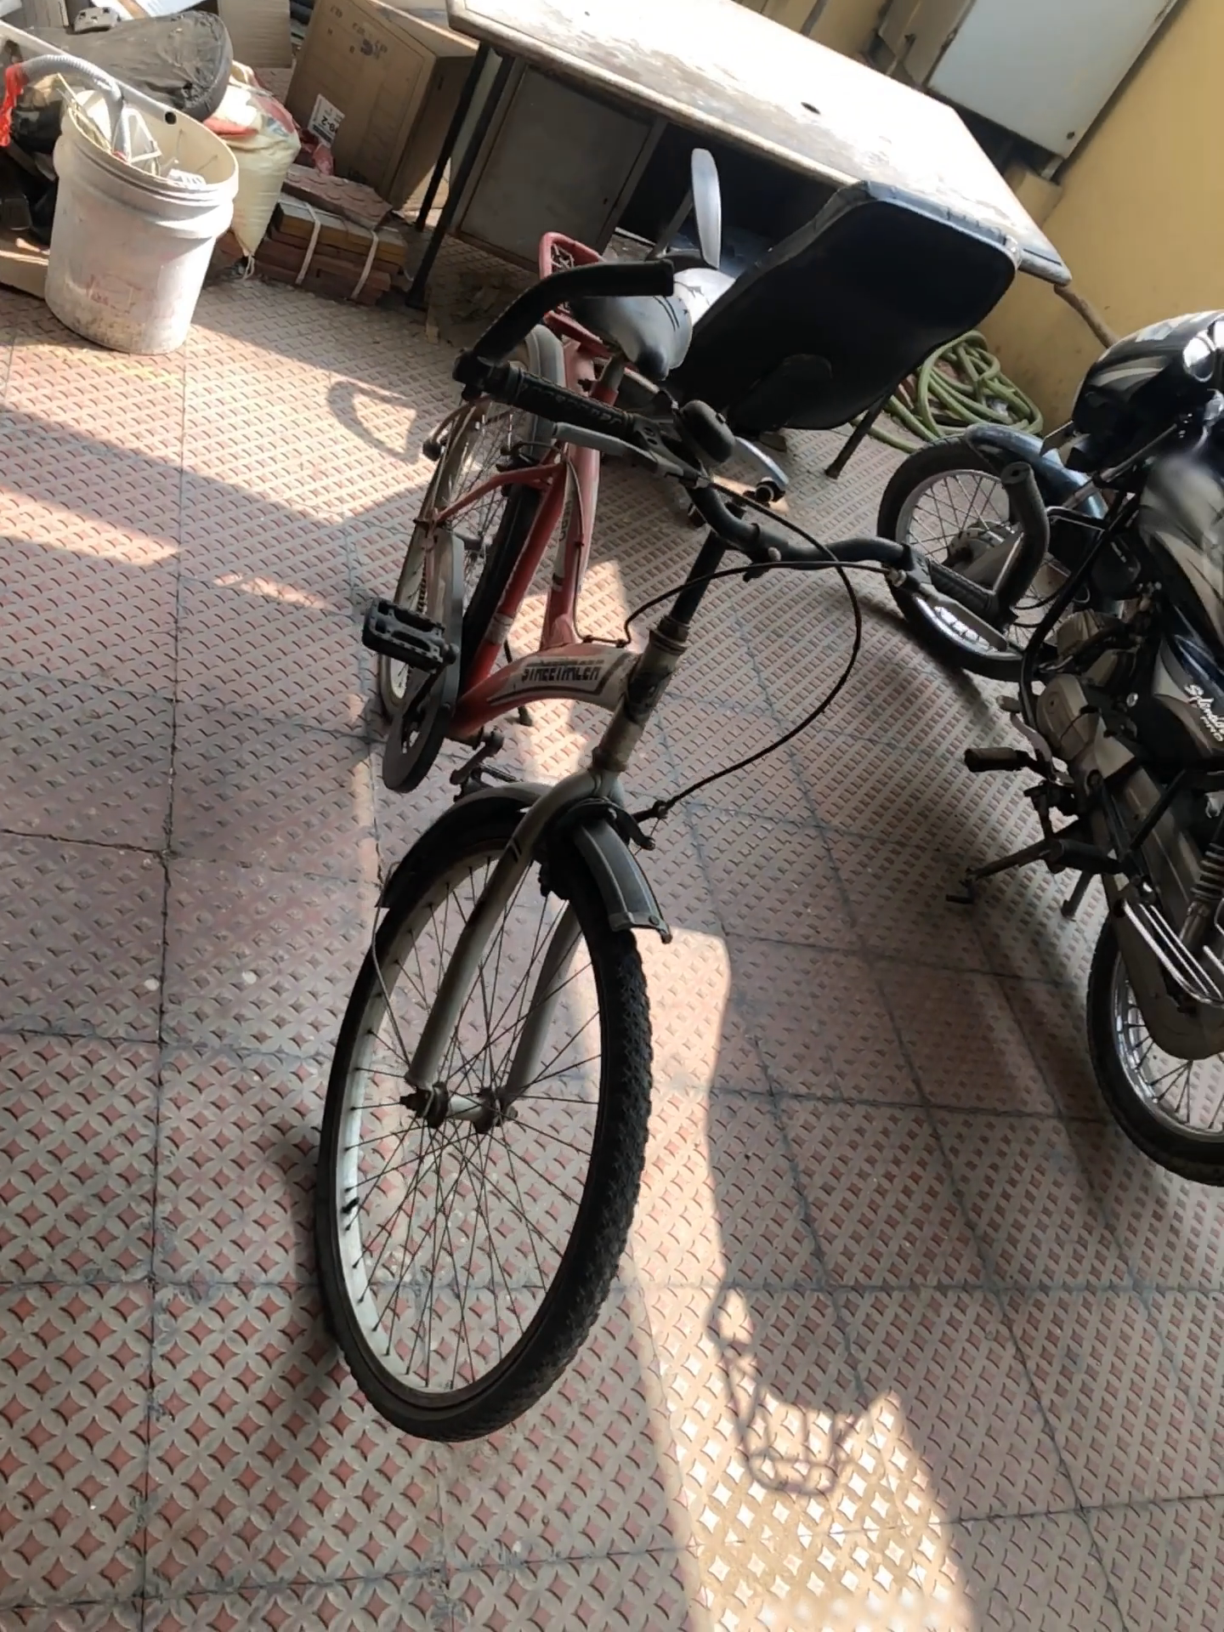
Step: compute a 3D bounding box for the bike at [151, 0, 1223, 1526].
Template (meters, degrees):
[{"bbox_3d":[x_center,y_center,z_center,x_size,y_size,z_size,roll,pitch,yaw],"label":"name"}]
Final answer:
[{"bbox_3d":[-0.051,-0.183,1.611,0.575,0.963,1.619,15,41,-23],"label":"bike"}]
